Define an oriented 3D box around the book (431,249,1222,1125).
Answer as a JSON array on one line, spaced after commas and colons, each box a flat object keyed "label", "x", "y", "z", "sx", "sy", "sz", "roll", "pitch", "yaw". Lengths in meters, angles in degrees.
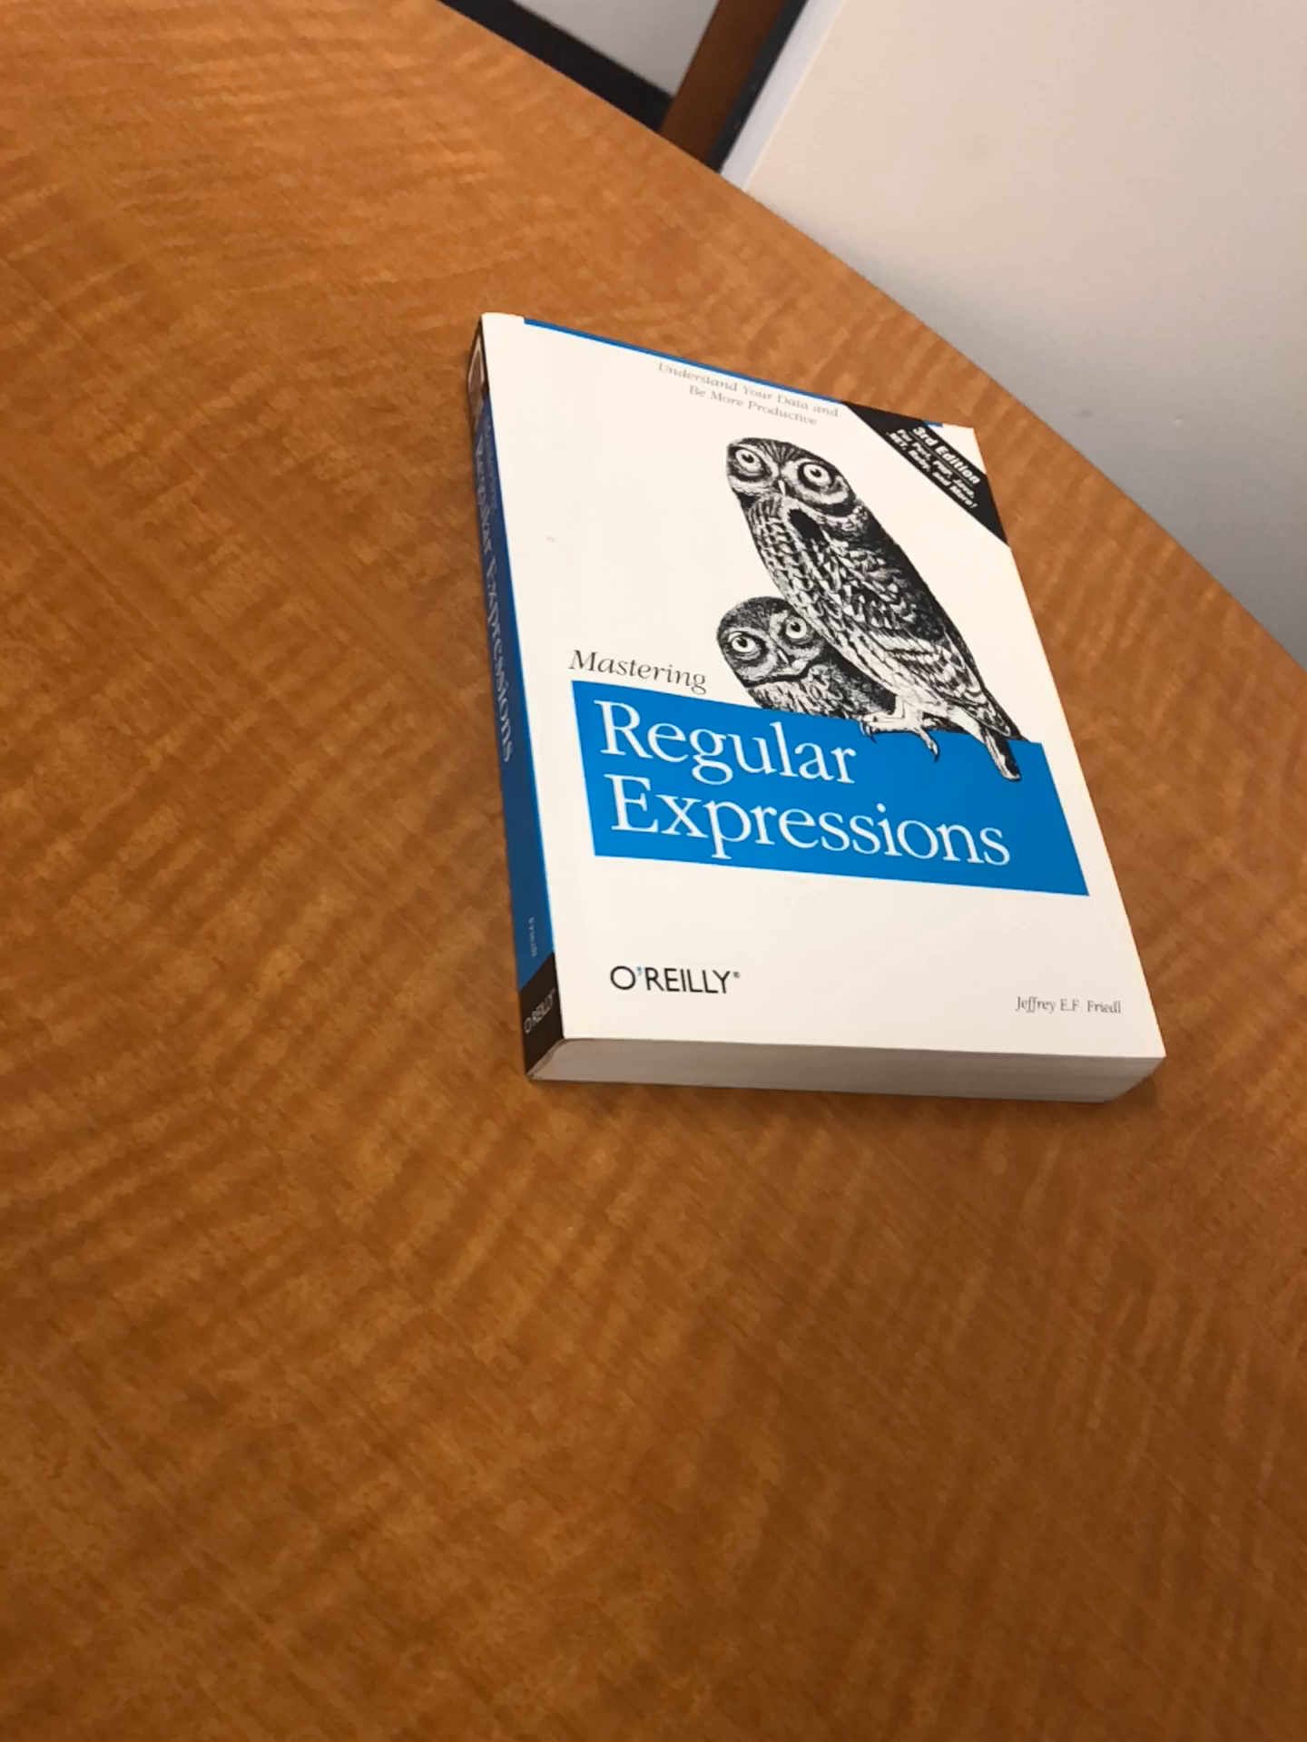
[{"label": "book", "x": 0.042, "y": -0.057, "z": 0.435, "sx": 0.200, "sy": 0.040, "sz": 0.261, "roll": 6, "pitch": 59, "yaw": -25}]
